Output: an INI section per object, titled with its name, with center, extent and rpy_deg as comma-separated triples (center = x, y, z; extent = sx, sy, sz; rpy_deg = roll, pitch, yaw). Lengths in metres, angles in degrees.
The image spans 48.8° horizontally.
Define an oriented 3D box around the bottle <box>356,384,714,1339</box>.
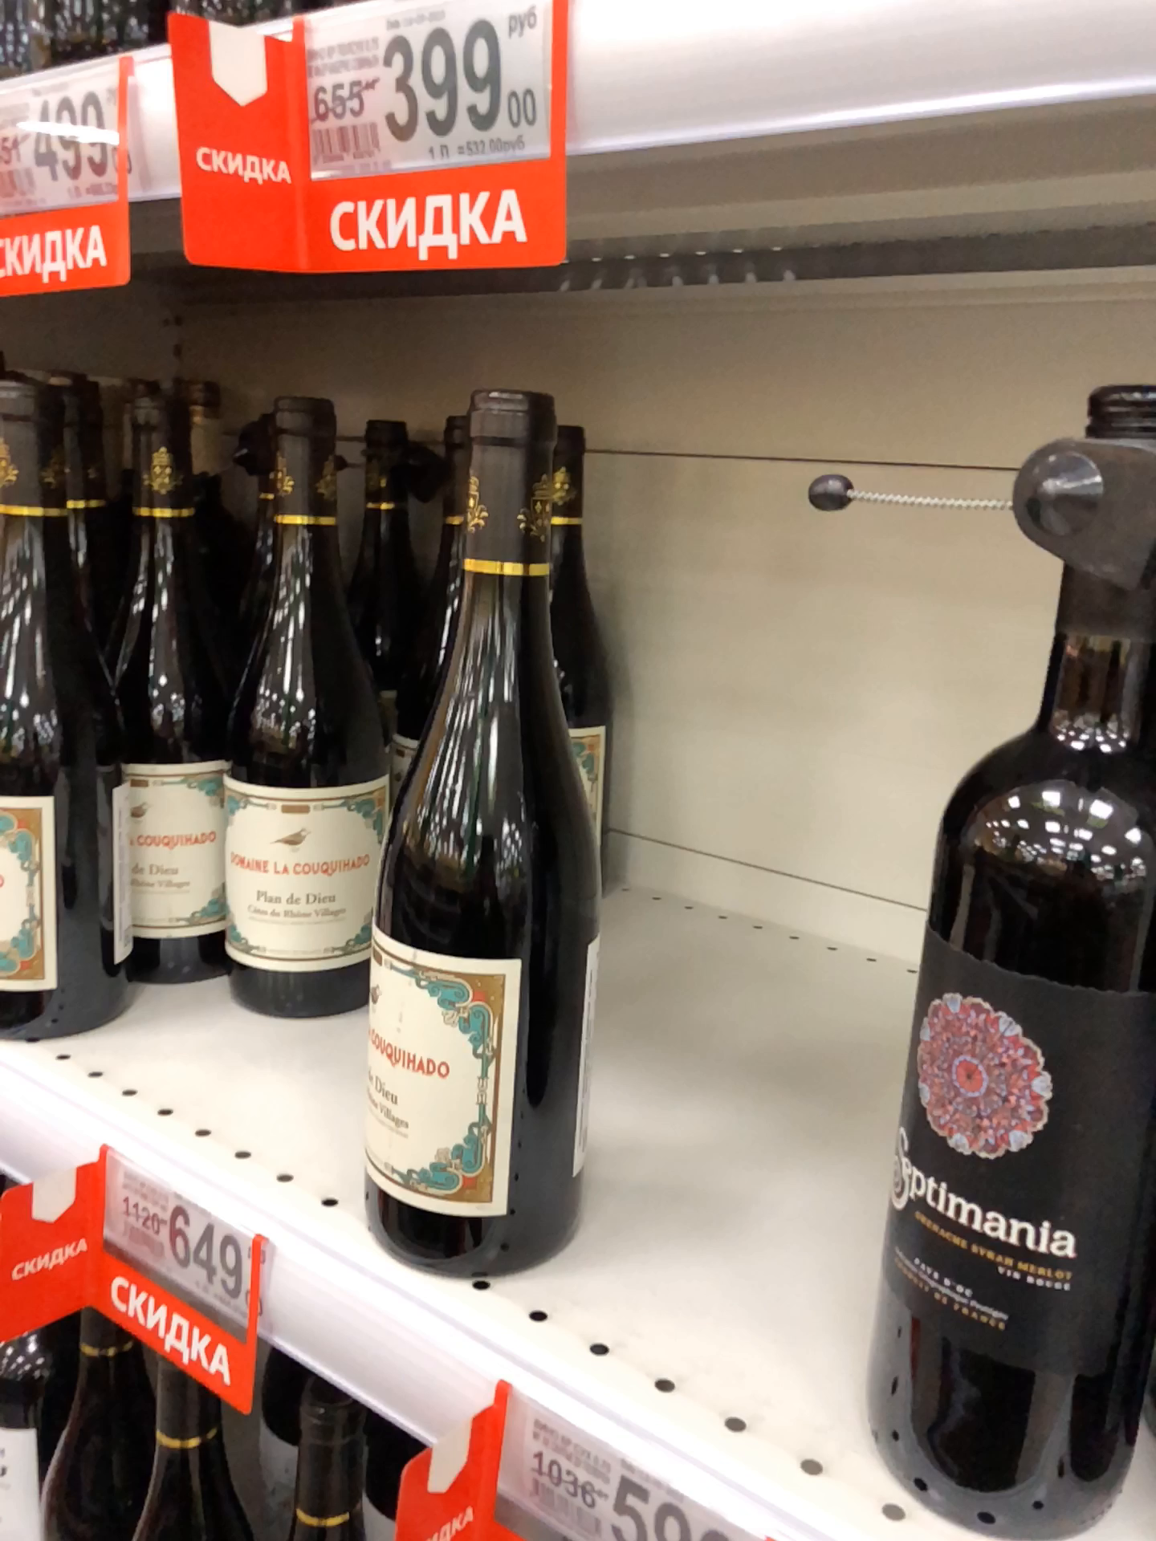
[bottle]
center = -0.022, 0.027, 0.443
extent = 0.080, 0.302, 0.090
rpy_deg = -4, 14, -27
